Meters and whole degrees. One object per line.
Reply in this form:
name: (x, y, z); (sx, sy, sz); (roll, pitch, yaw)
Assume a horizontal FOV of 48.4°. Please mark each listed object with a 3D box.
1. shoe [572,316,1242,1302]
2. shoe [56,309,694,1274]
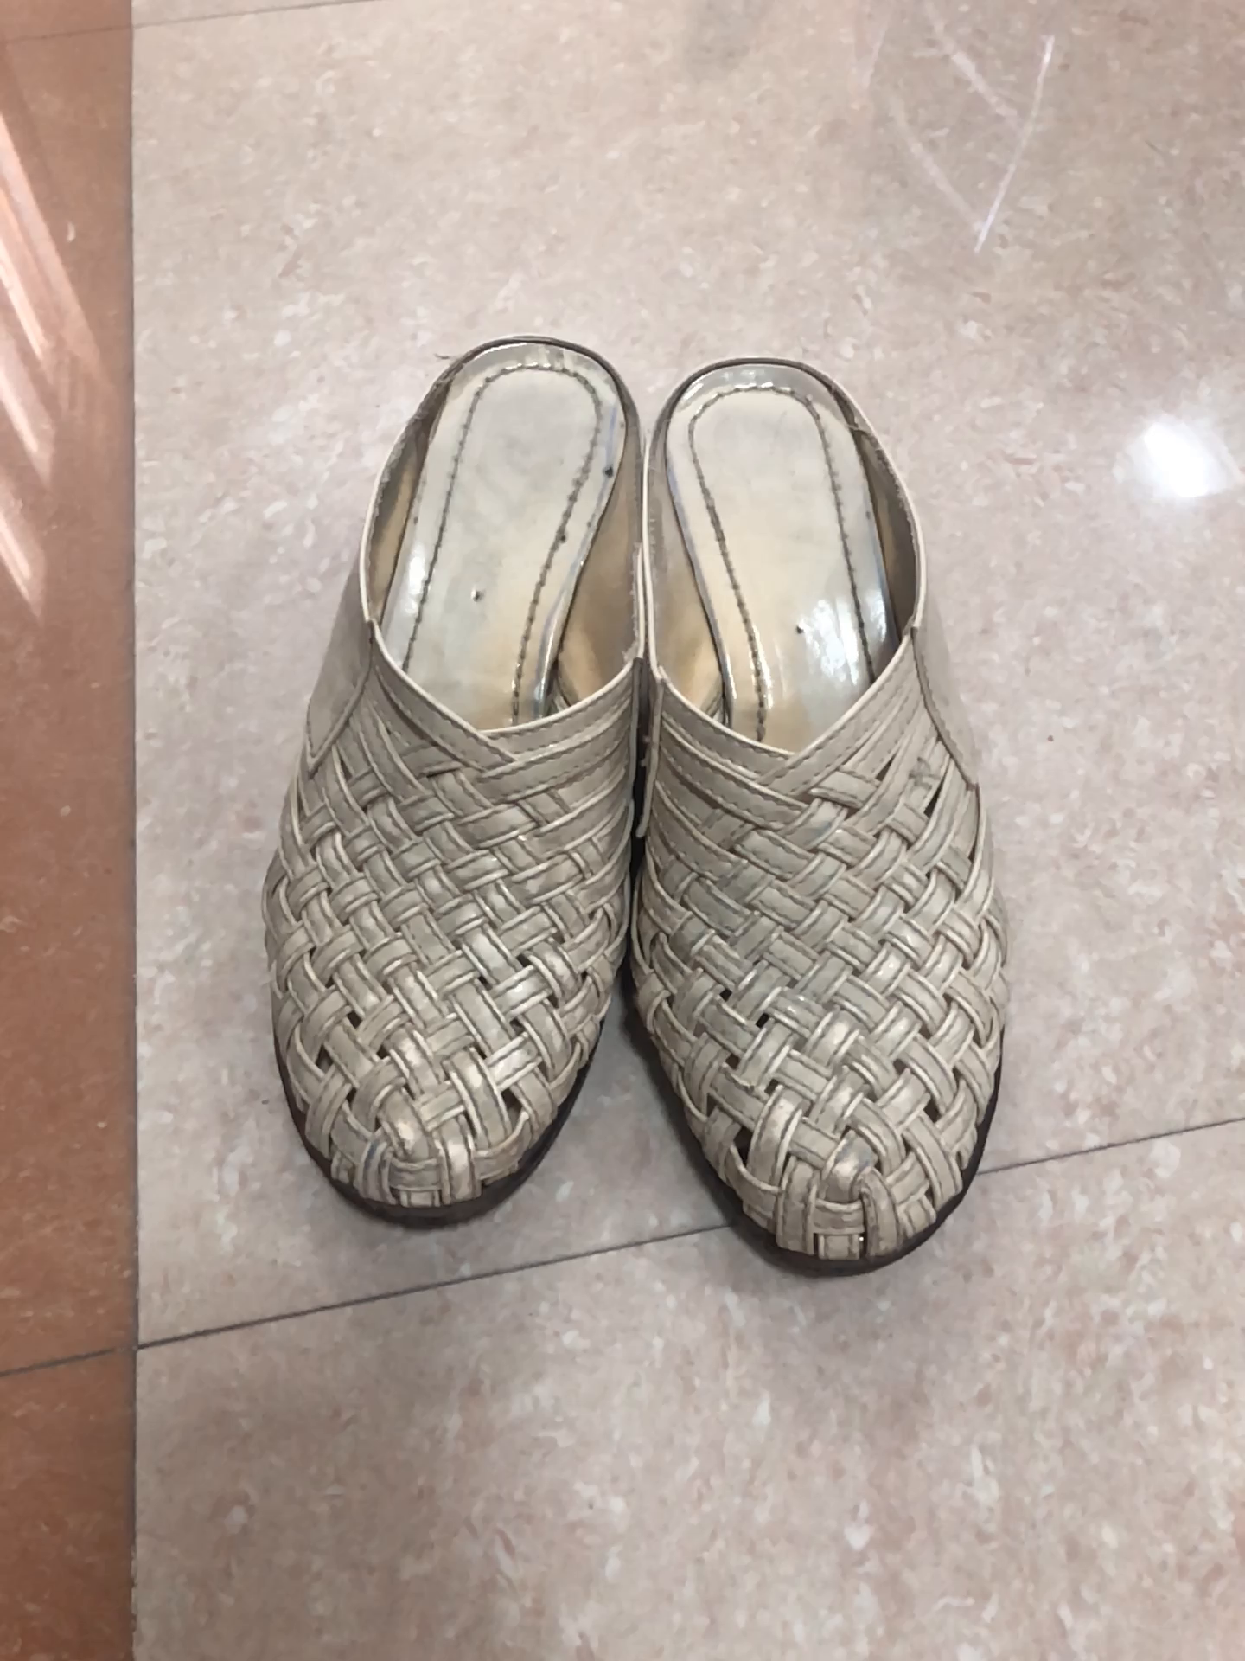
shoe: (0.047, -0.016, 0.333); (0.100, 0.085, 0.222); (-5, 56, -2)
shoe: (-0.041, -0.020, 0.342); (0.100, 0.085, 0.225); (4, 56, 3)
